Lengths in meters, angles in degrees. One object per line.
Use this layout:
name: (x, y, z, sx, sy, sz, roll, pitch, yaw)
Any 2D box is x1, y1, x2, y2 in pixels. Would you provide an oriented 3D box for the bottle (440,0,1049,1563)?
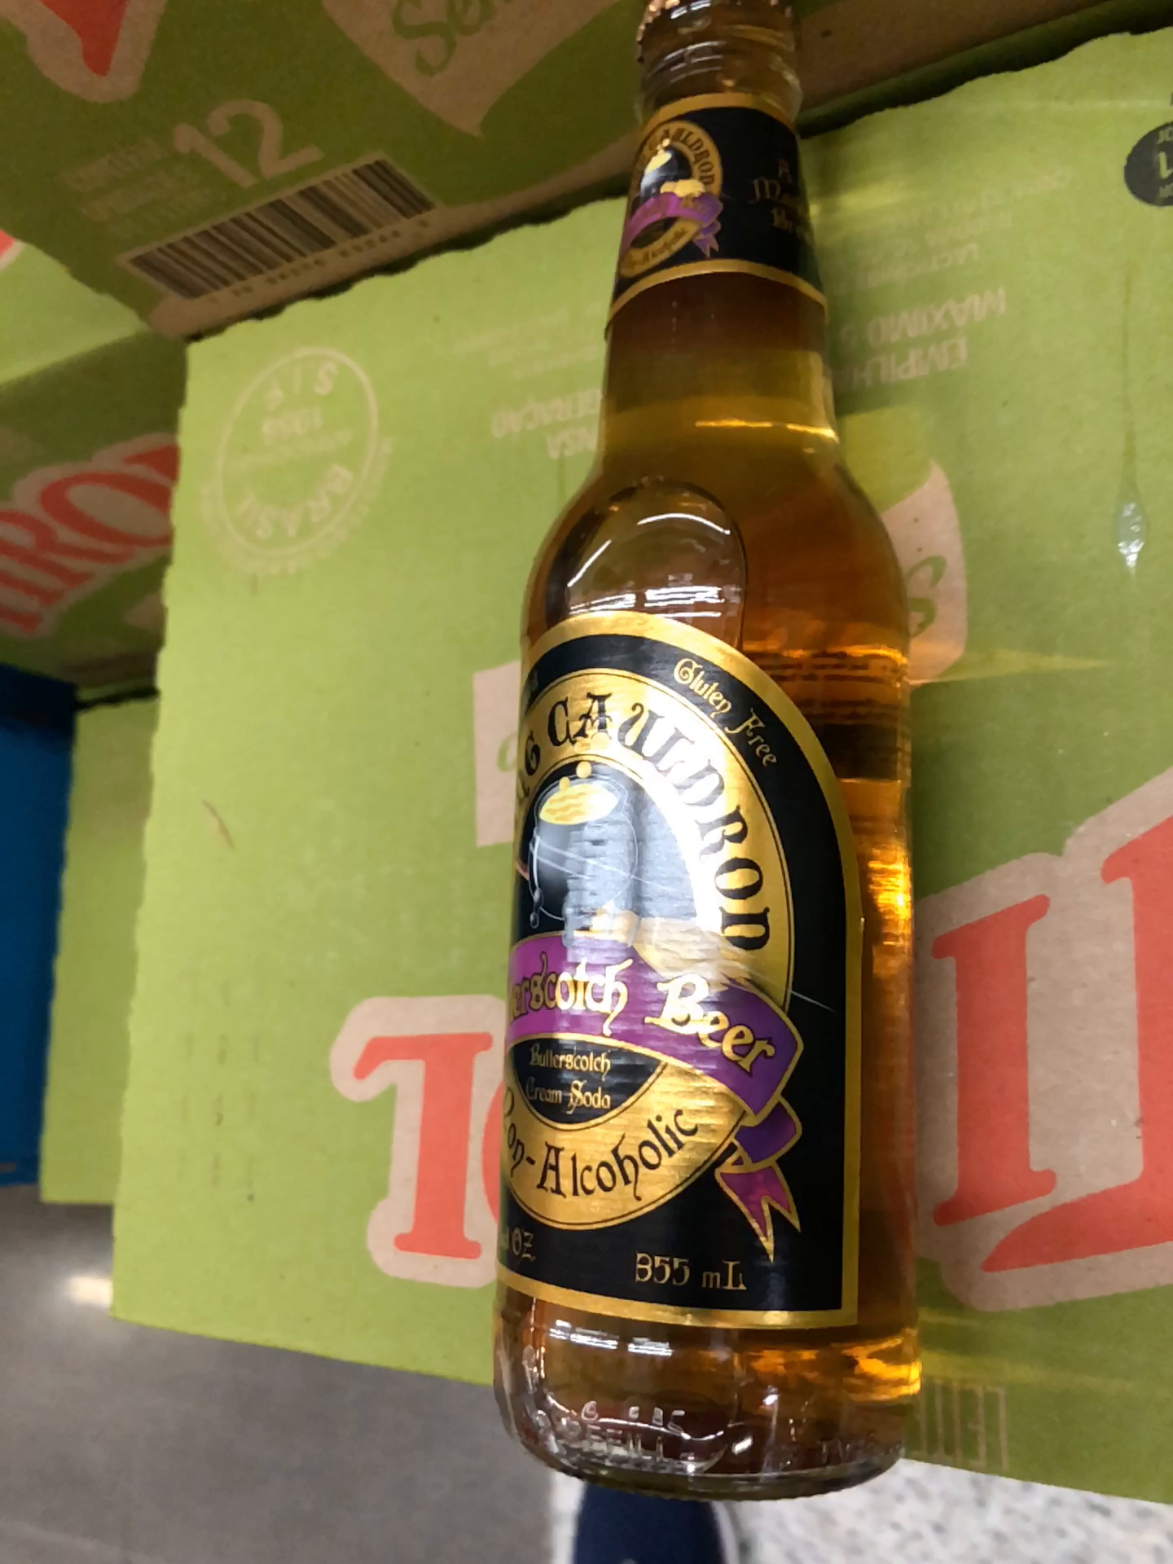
bottle: (0.025, -0.031, 0.205, 0.070, 0.050, 0.260, -5, 78, 29)
